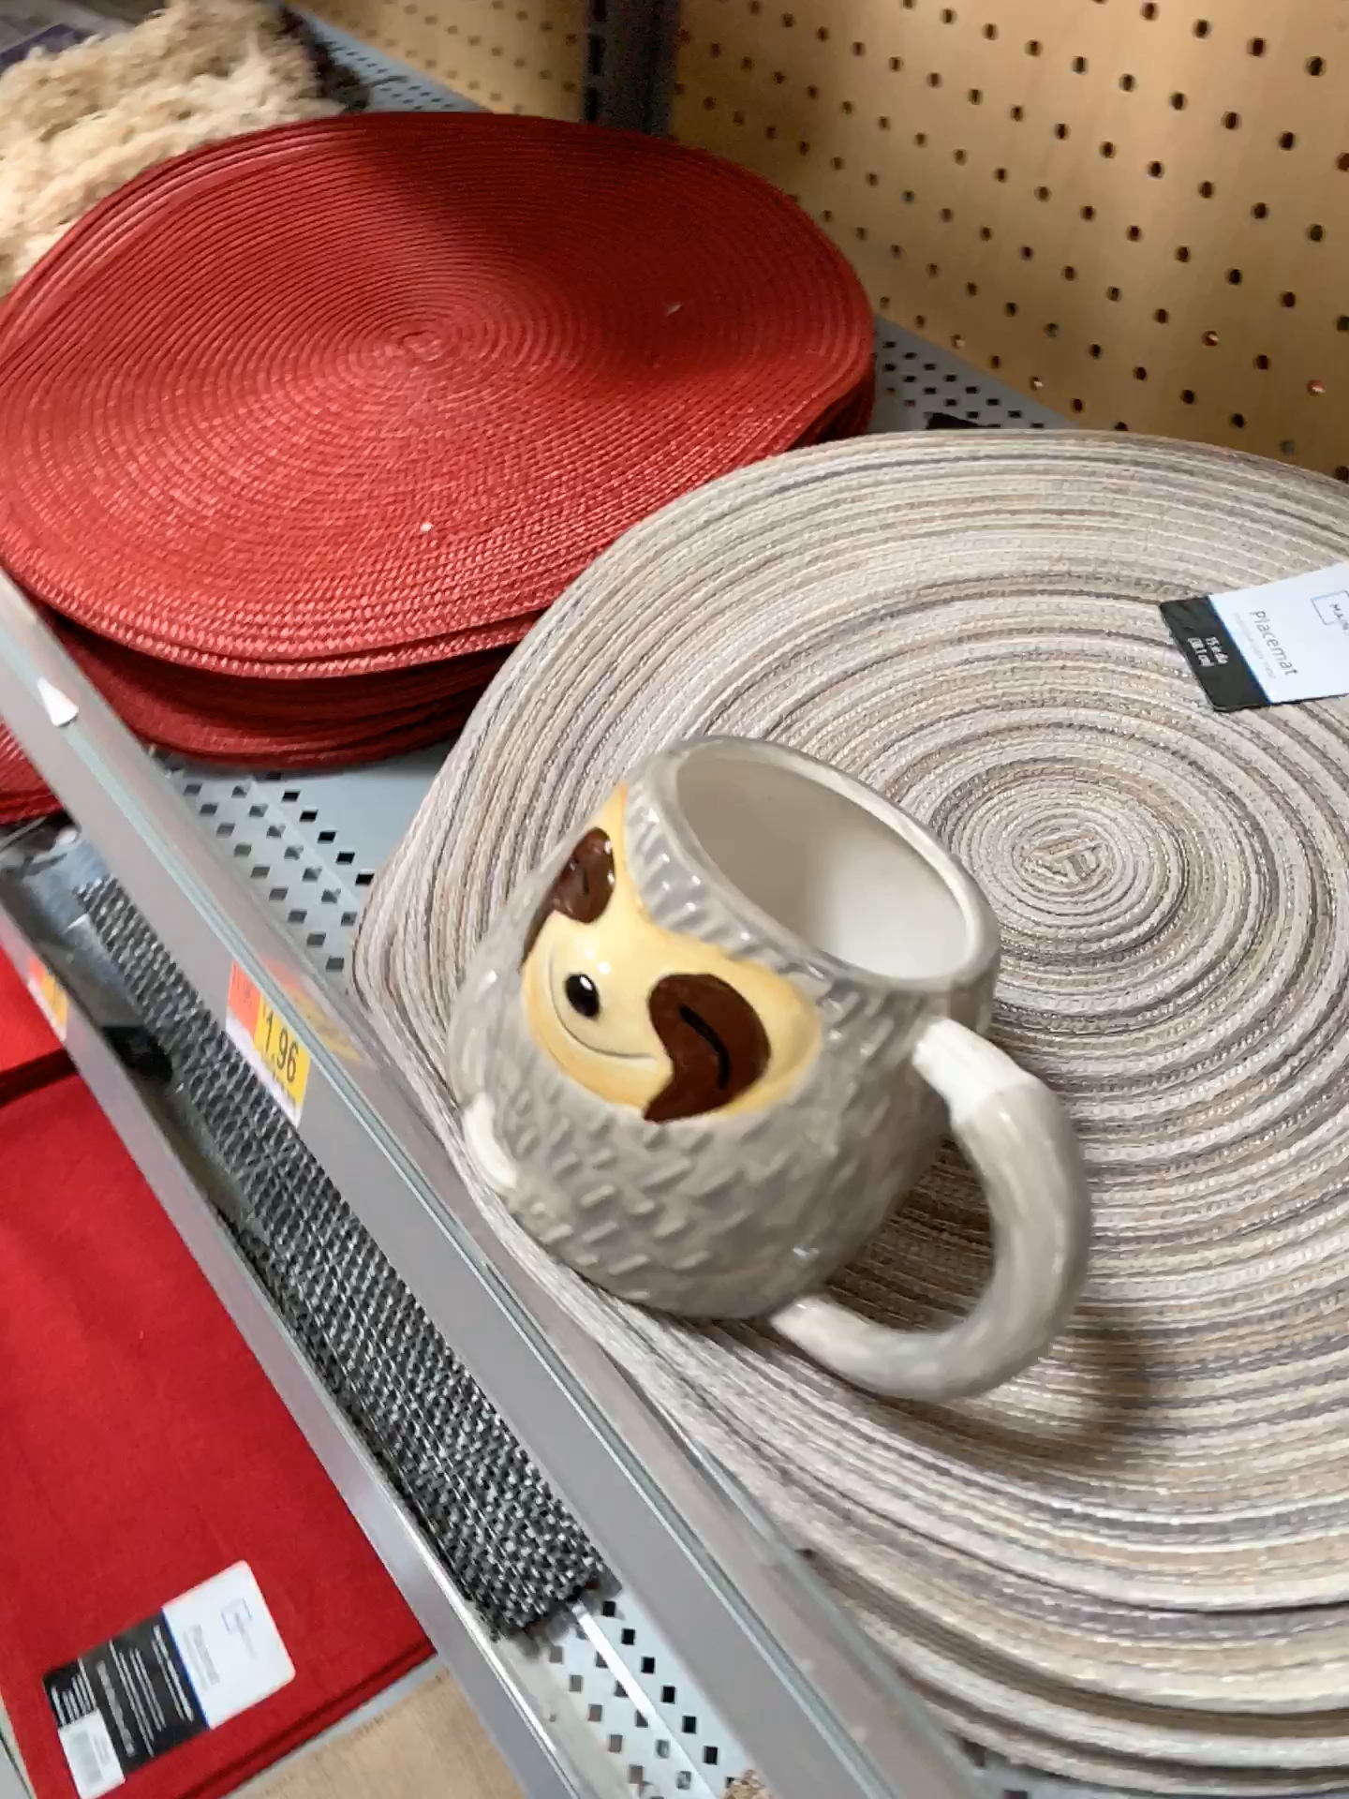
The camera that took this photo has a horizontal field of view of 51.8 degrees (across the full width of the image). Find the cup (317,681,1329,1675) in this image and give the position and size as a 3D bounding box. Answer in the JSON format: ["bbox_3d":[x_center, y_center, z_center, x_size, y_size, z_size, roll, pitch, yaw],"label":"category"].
[{"bbox_3d":[0.023,0.039,0.281,0.106,0.089,0.151,-15,51,-45],"label":"cup"}]
